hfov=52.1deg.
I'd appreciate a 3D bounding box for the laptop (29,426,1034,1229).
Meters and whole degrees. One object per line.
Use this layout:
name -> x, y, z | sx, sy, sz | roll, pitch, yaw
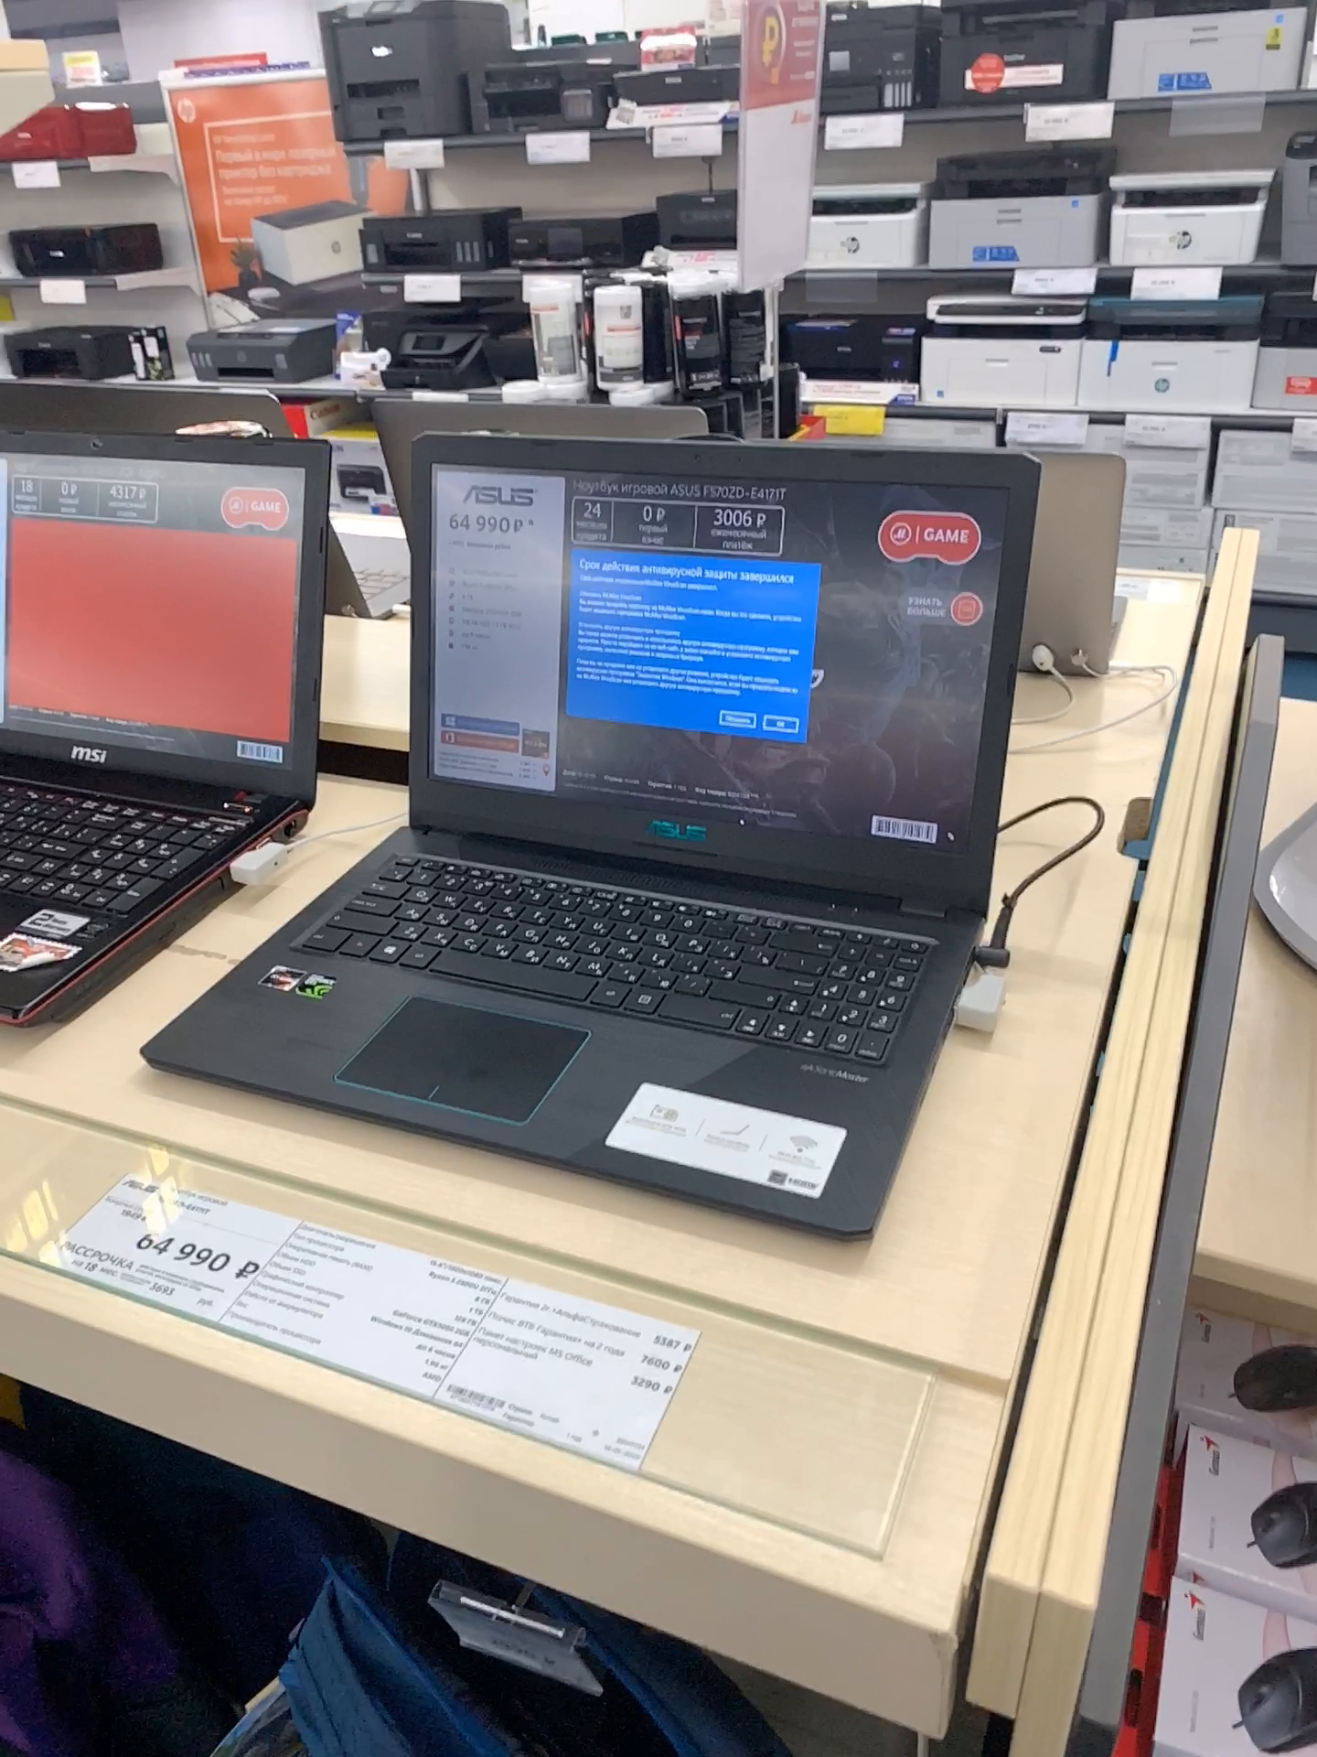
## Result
laptop -> -0.029, -0.066, 0.665 | 0.358, 0.222, 0.319 | 9, 32, 21
